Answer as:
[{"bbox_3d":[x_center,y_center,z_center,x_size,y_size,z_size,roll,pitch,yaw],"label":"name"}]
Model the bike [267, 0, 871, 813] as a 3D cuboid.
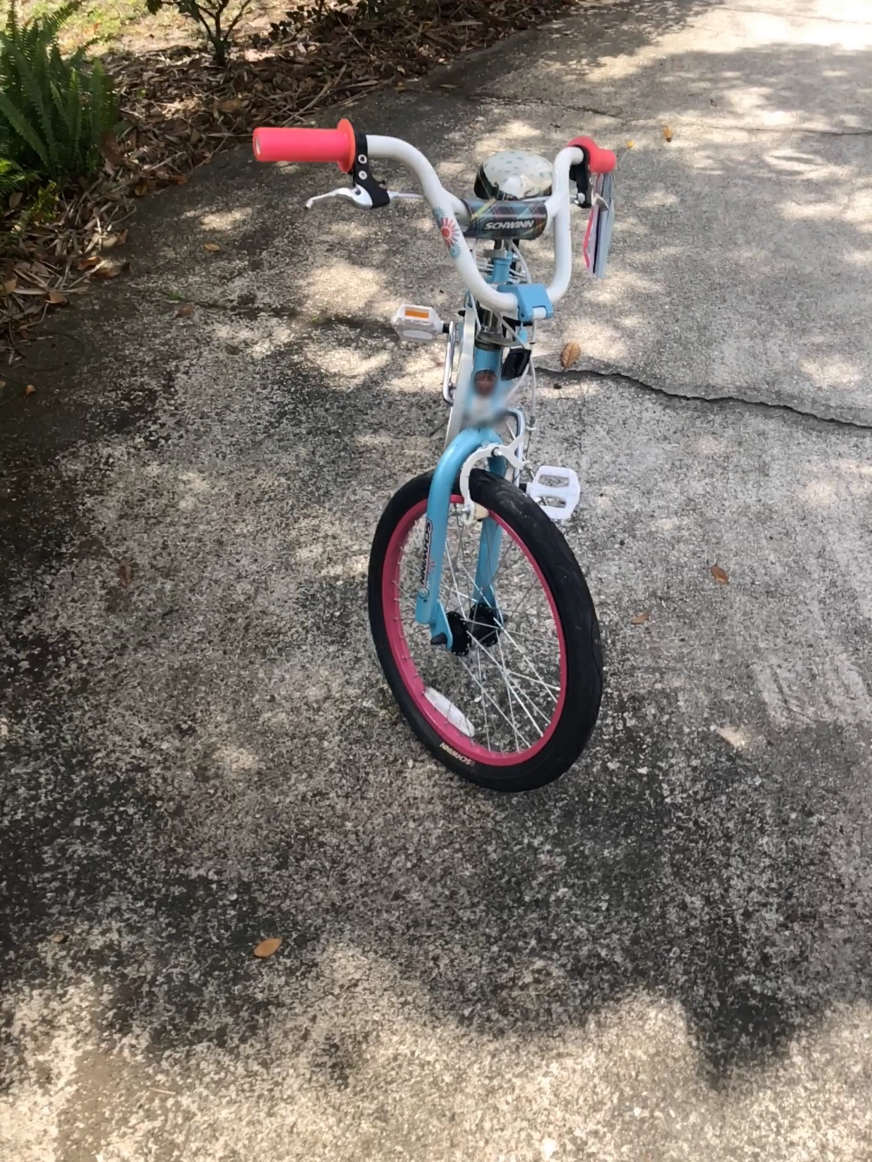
[{"bbox_3d":[0.206,-0.434,1.571,0.699,0.924,1.316,-4,44,2],"label":"bike"}]
